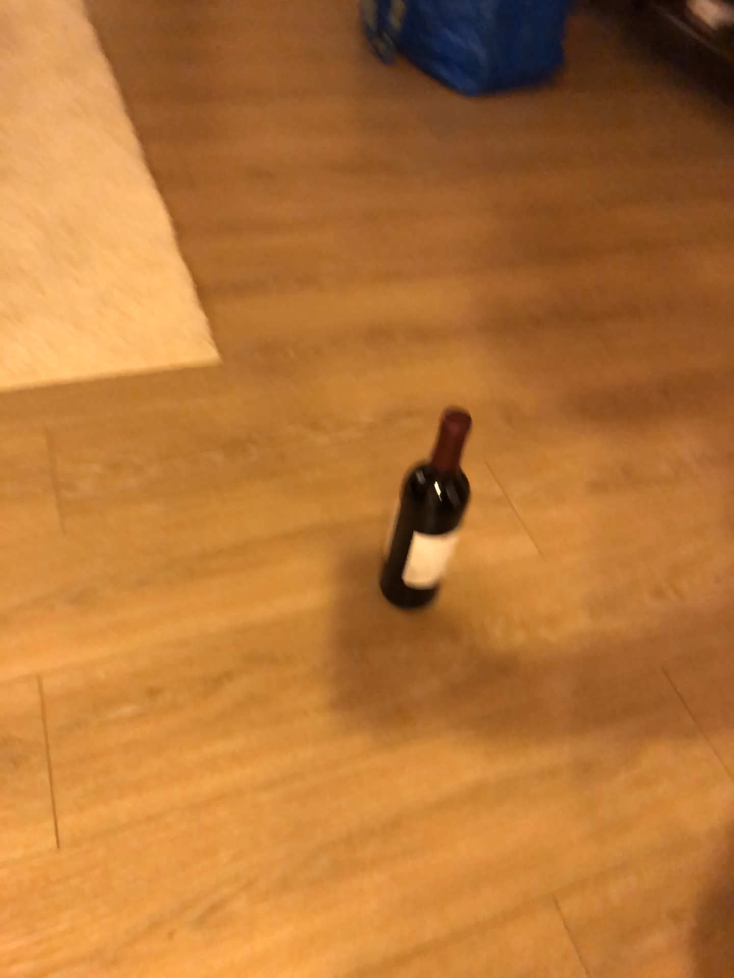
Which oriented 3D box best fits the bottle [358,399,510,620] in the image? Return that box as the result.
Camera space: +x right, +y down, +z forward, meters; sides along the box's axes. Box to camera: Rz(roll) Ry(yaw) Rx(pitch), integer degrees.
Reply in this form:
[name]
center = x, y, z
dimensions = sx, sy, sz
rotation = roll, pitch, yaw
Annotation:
[bottle]
center = 0.063, 0.032, 0.905
dimensions = 0.110, 0.259, 0.101
rotation = 5, 48, -5
